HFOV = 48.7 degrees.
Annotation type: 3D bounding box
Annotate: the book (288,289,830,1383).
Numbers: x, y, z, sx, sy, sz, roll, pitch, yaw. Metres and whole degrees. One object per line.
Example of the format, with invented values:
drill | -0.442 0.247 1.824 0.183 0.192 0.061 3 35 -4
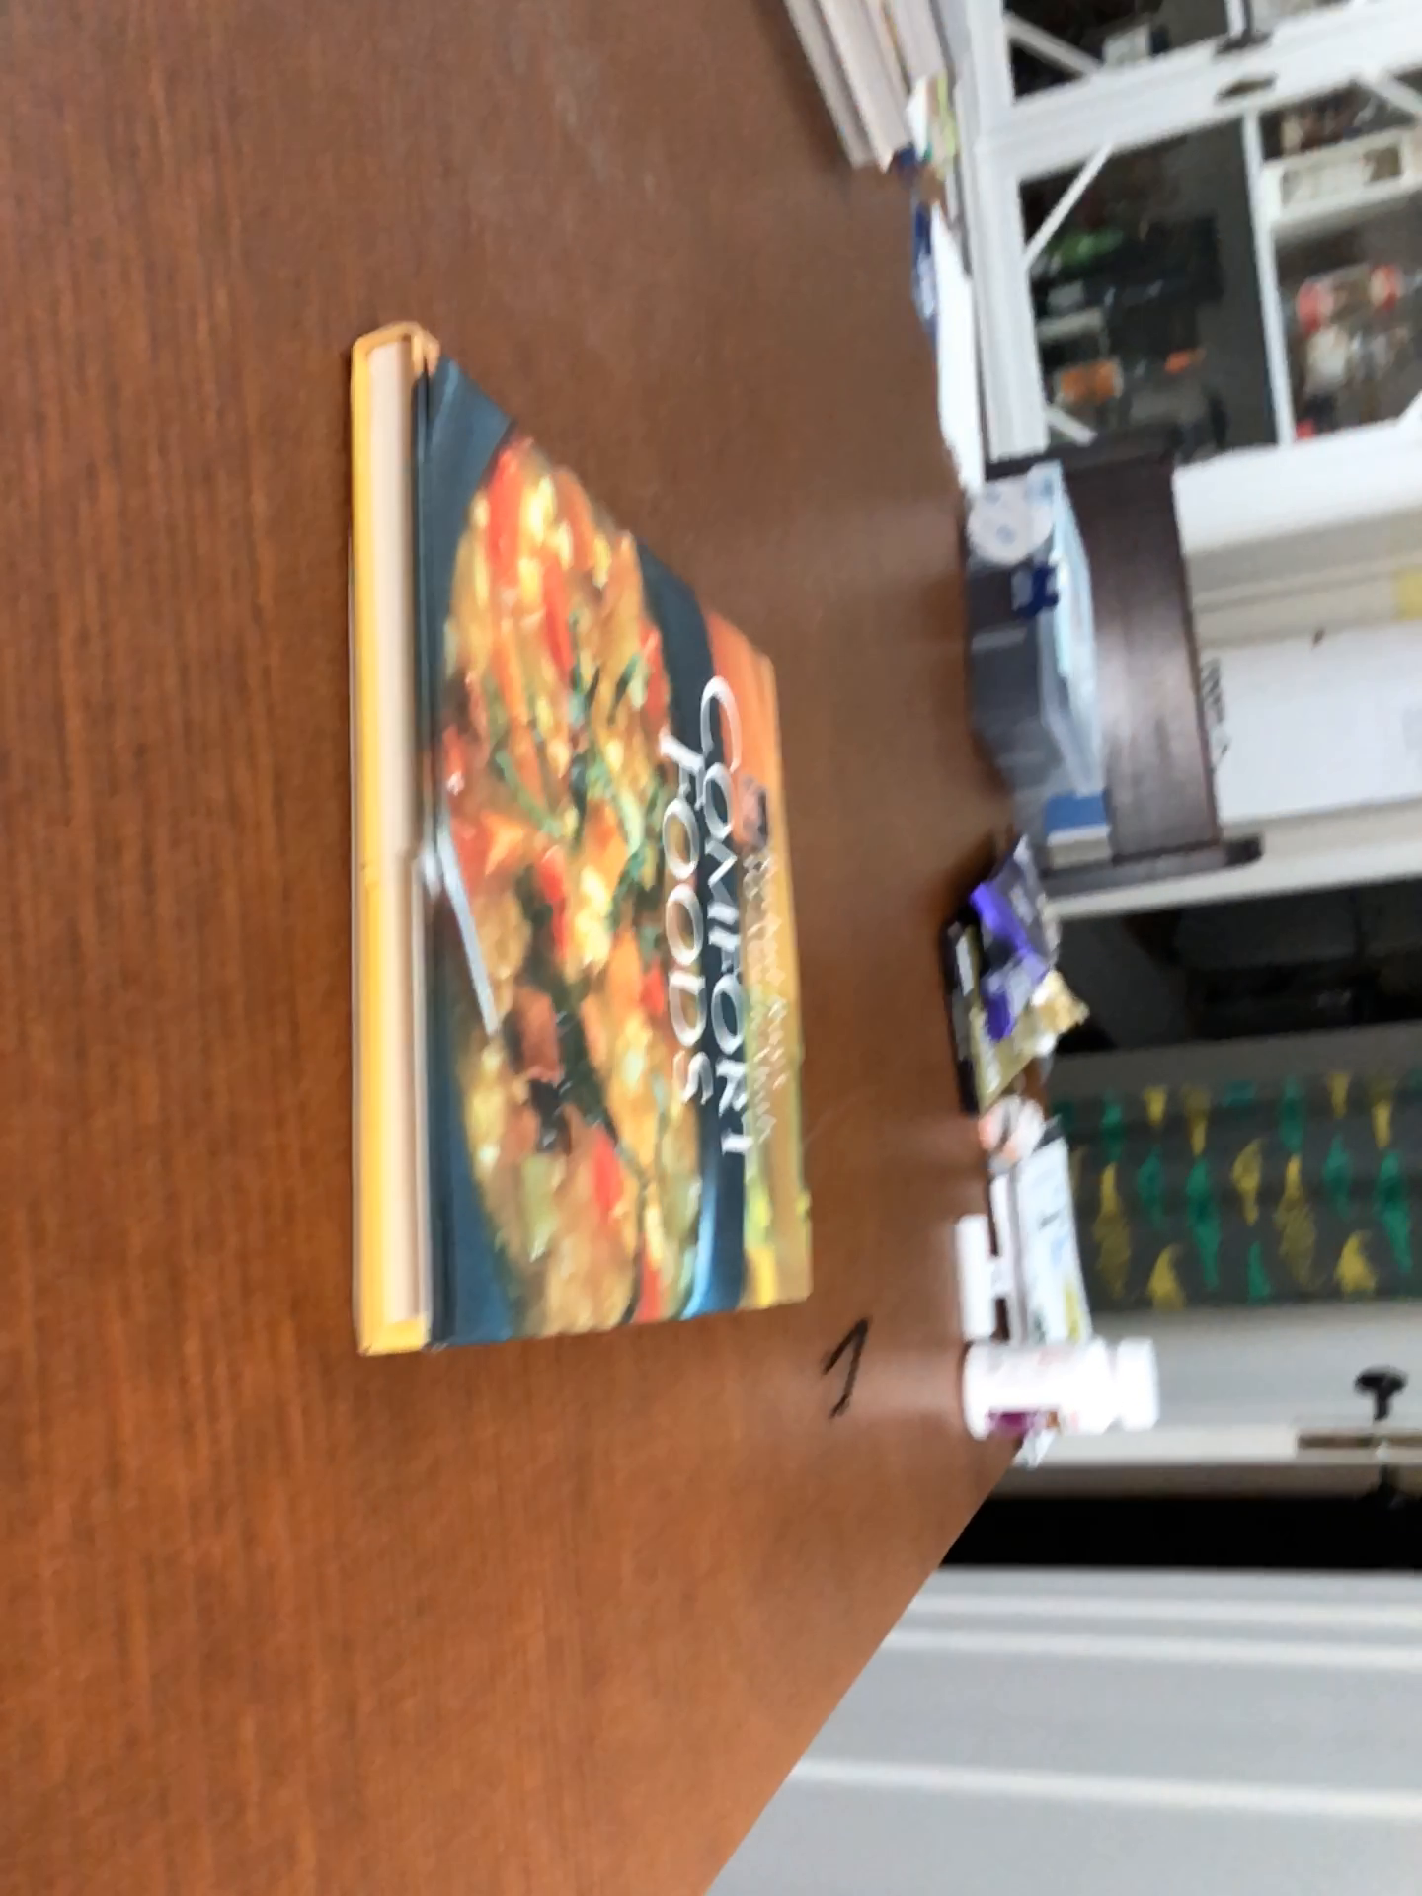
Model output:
book | -0.024 -0.008 0.379 0.211 0.030 0.200 24 61 -66
